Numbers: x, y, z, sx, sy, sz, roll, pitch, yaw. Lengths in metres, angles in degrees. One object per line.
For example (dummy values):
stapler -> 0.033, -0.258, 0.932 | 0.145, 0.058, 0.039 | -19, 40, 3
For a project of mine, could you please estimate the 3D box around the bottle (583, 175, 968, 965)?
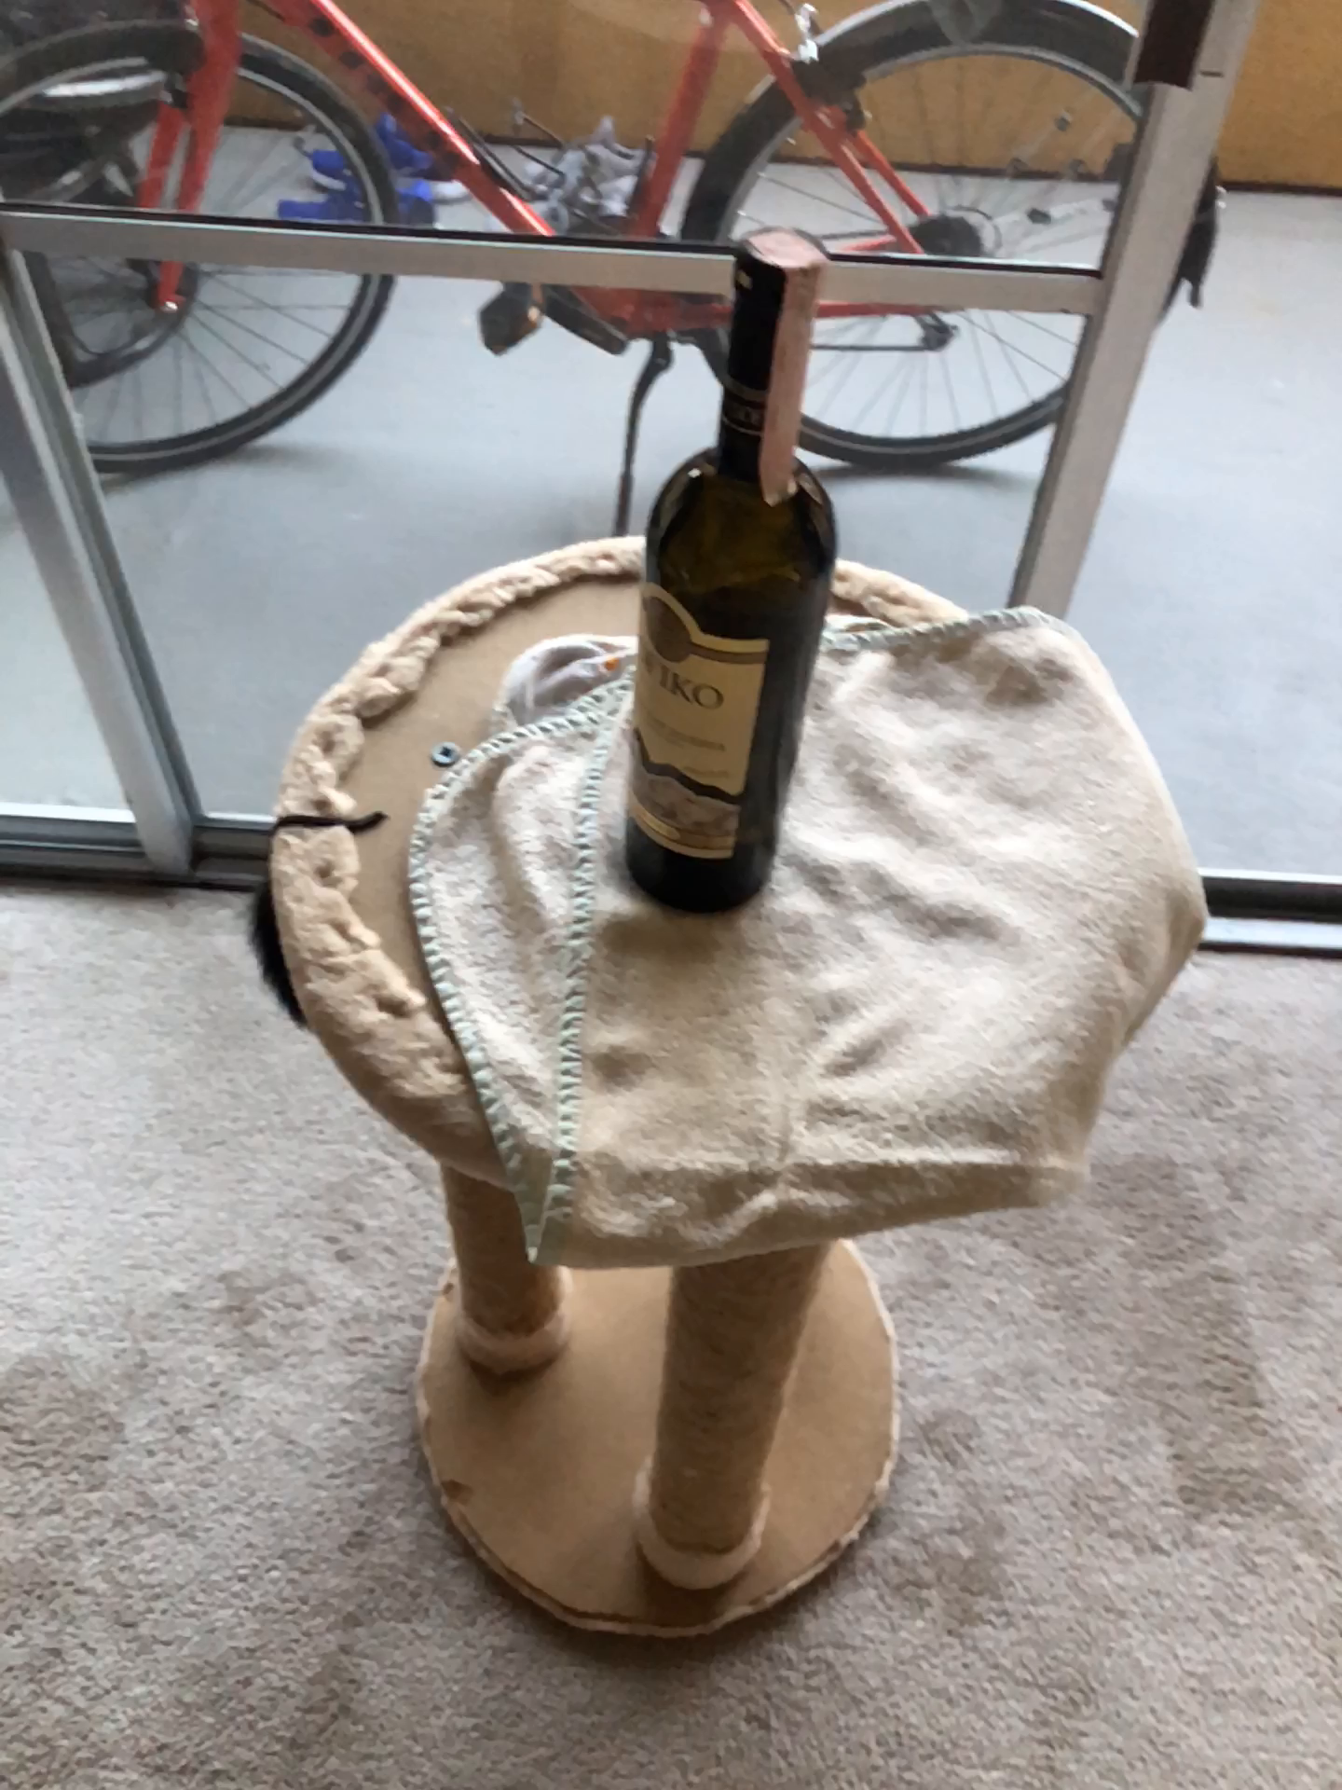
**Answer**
bottle -> 0.025, -0.098, 0.535 | 0.080, 0.269, 0.080 | 1, 51, -2
